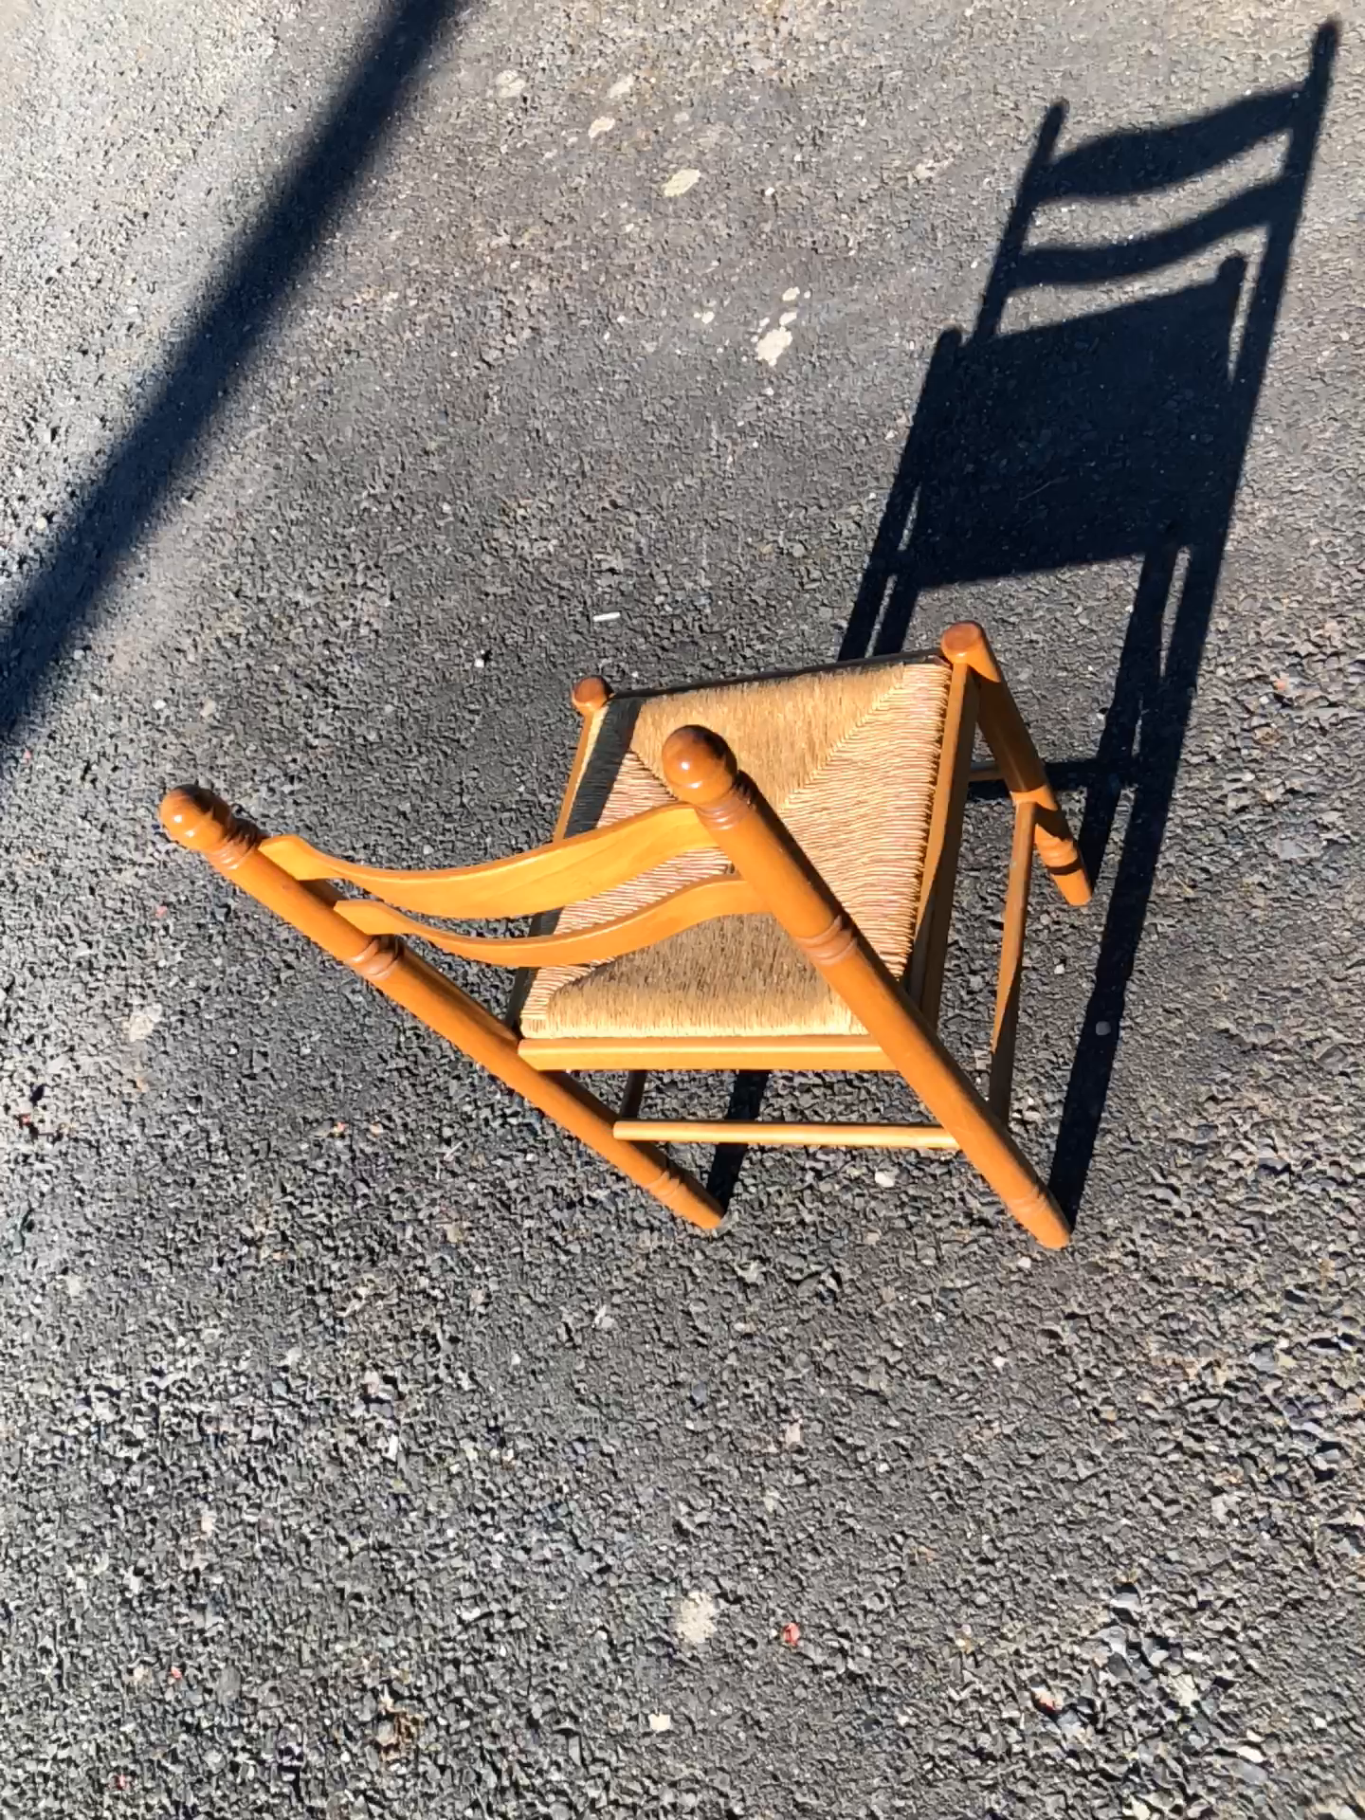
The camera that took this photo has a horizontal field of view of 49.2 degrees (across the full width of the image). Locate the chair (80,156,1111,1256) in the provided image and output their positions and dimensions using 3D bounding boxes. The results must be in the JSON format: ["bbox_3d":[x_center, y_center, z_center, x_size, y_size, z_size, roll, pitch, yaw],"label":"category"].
[{"bbox_3d":[0.035,-0.073,1.273,0.490,0.798,0.491,-3,61,26],"label":"chair"}]
